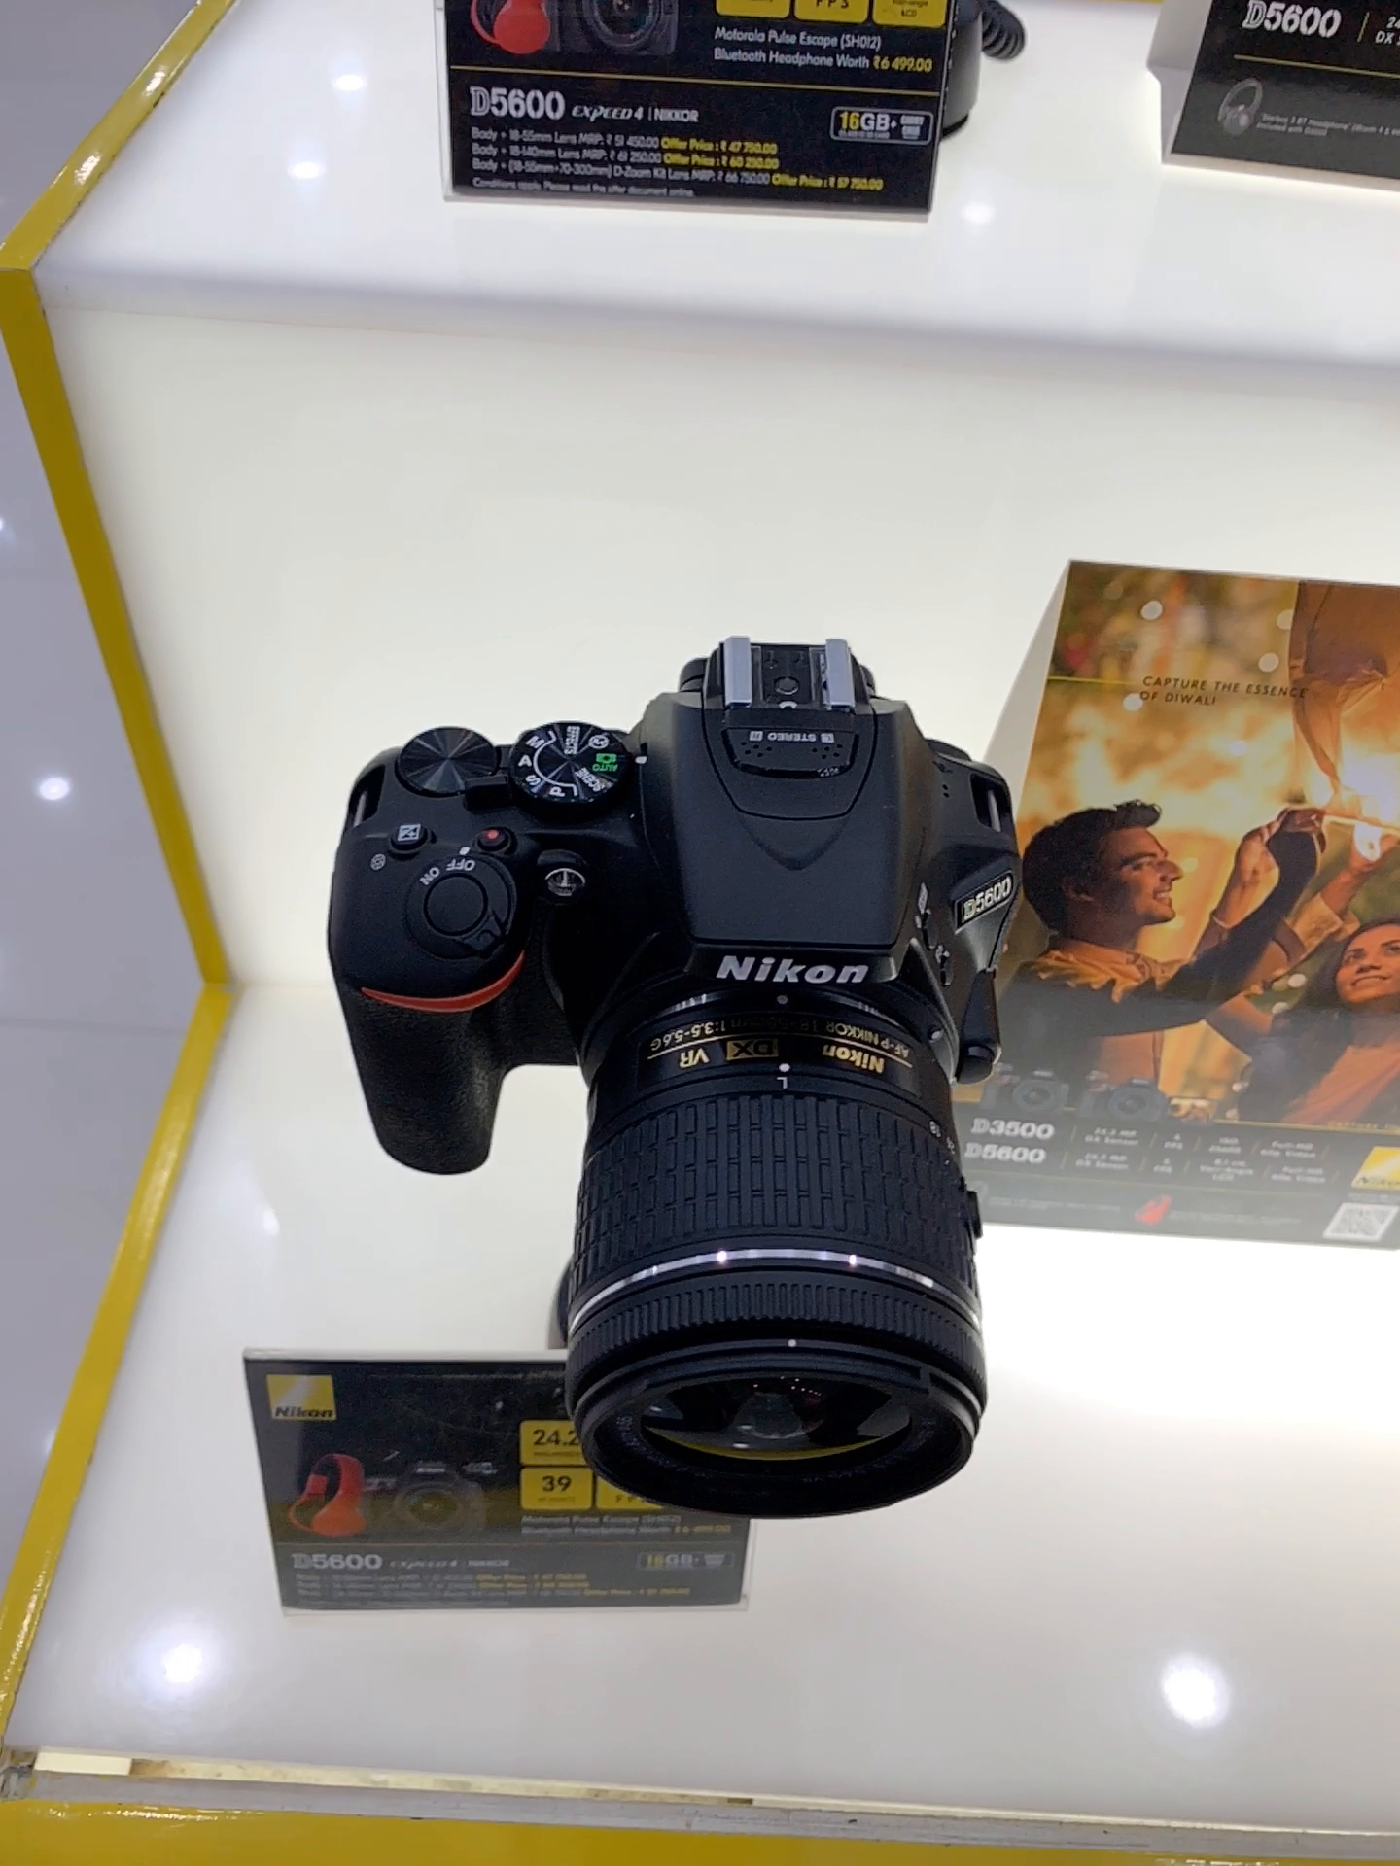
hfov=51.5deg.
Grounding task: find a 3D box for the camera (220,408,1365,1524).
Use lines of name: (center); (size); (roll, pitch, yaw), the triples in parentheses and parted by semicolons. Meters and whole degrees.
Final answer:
camera: (0.007, -0.001, 0.238); (0.120, 0.090, 0.160); (1, 49, -3)
